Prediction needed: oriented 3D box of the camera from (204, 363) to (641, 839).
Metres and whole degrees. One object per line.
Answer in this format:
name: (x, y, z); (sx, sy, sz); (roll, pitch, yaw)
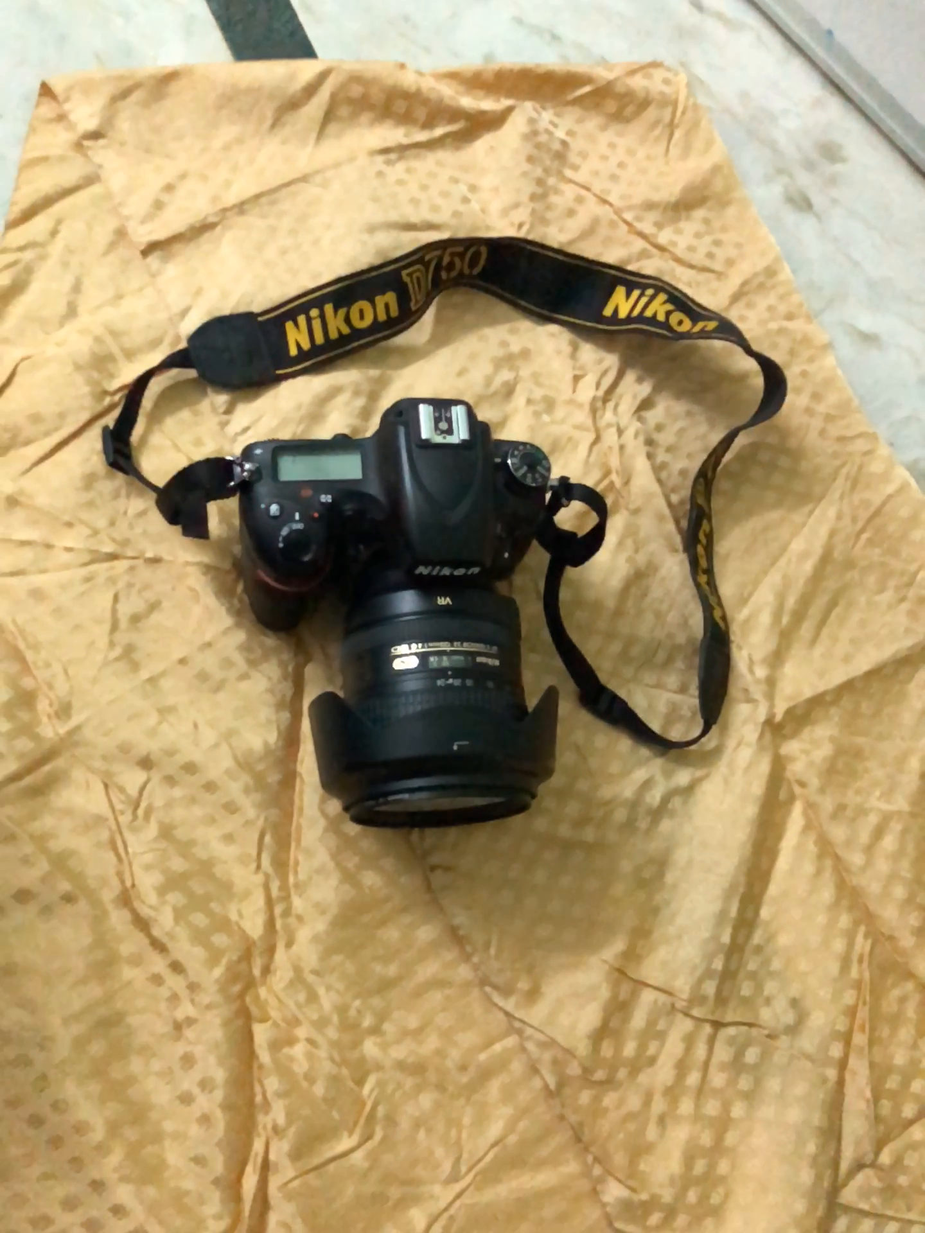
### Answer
camera: (-0.026, -0.003, 0.430); (0.149, 0.110, 0.170); (-3, 75, -12)
